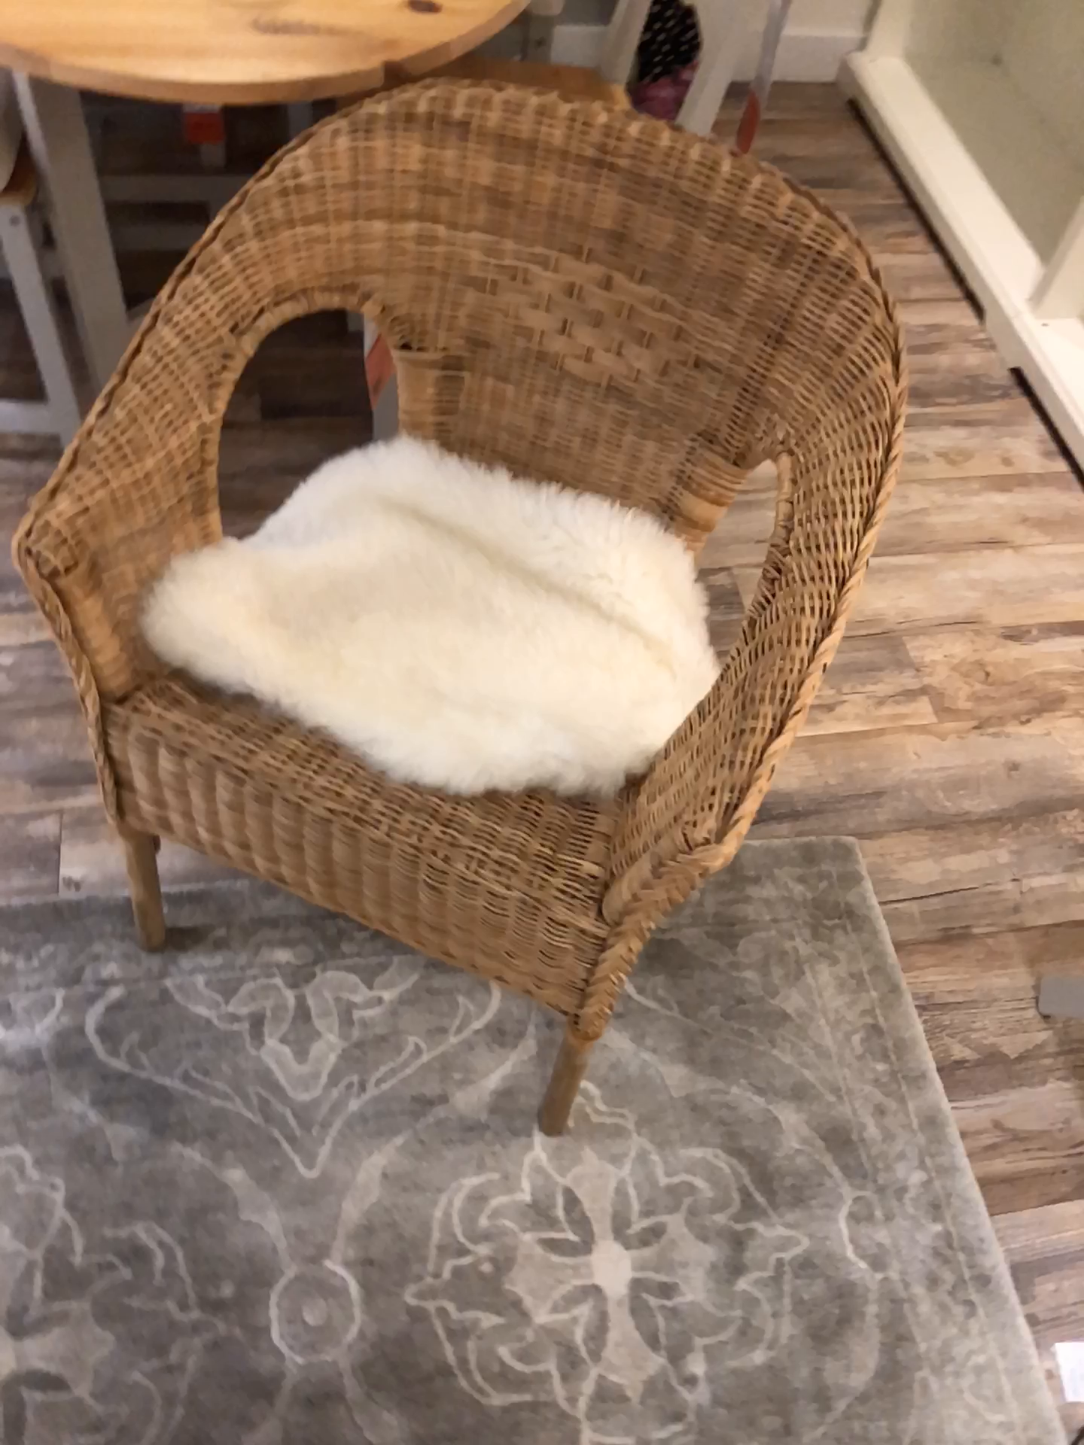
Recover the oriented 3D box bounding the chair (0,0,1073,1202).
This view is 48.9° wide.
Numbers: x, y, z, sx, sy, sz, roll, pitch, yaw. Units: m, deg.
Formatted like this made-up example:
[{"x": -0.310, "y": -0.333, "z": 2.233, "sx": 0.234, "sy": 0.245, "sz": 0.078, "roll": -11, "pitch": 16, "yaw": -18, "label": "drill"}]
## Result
[{"x": -0.038, "y": -0.086, "z": 1.119, "sx": 0.650, "sy": 0.718, "sz": 0.632, "roll": 24, "pitch": 55, "yaw": 9, "label": "chair"}]
